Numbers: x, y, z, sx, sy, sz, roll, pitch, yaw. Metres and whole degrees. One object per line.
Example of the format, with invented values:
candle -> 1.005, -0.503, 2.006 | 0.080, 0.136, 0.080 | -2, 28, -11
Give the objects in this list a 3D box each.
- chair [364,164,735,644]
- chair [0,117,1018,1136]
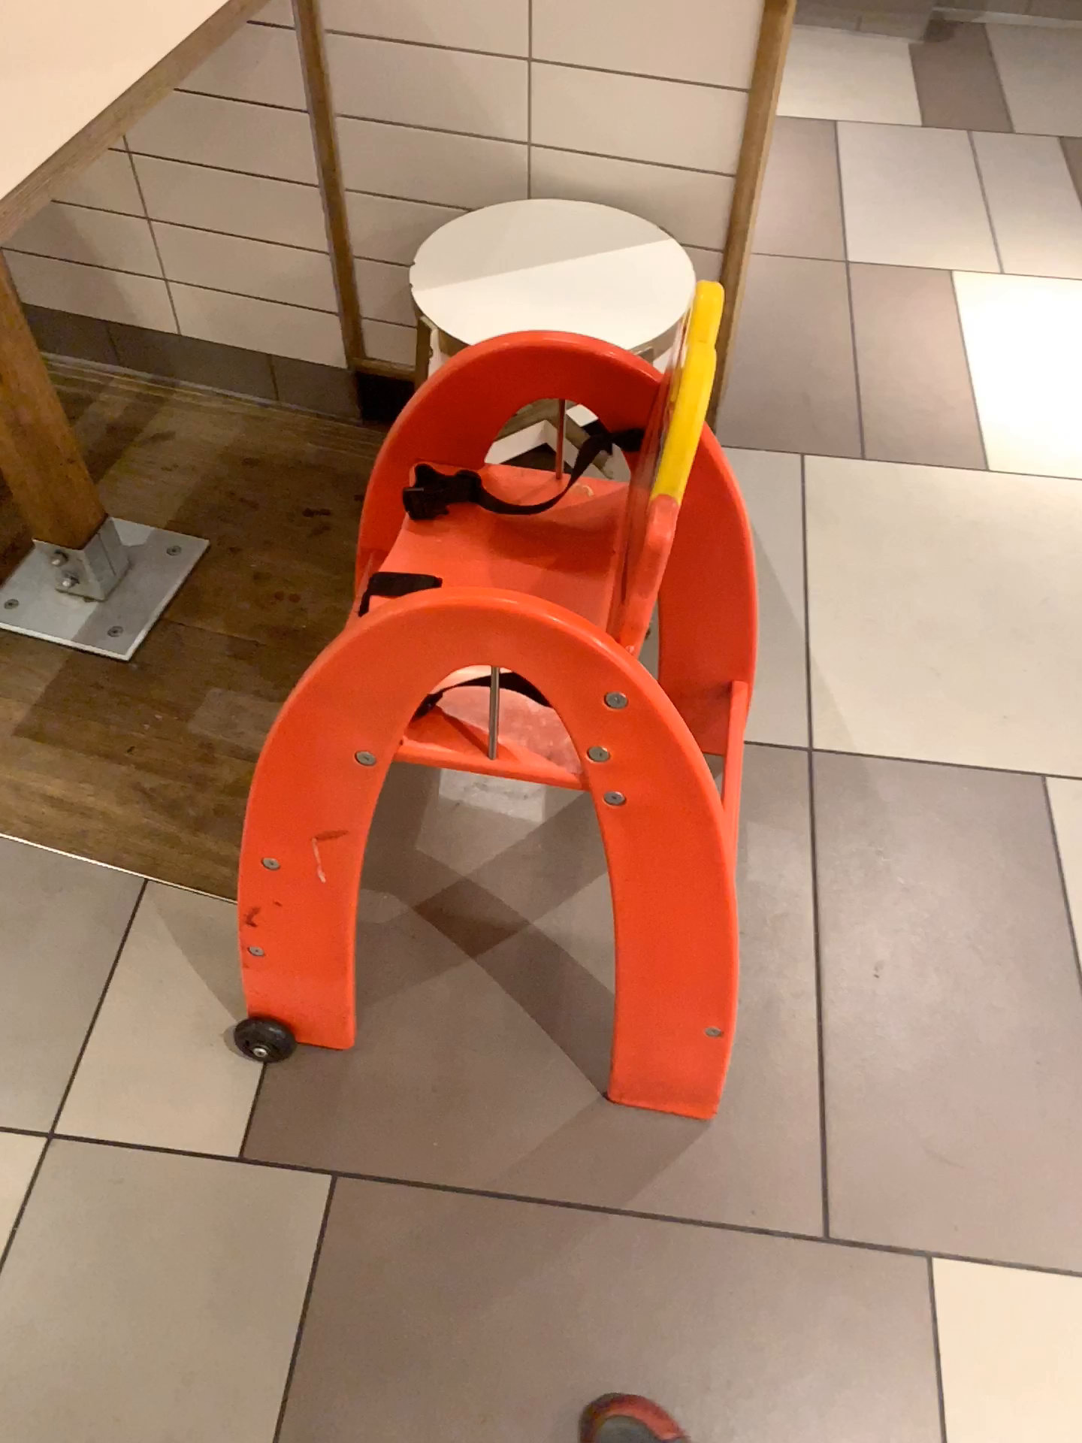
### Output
chair -> 0.020, -0.384, 1.384 | 0.370, 0.446, 0.323 | 6, 53, 4
chair -> -0.018, -0.056, 1.006 | 0.580, 0.655, 0.585 | 6, 53, 4
